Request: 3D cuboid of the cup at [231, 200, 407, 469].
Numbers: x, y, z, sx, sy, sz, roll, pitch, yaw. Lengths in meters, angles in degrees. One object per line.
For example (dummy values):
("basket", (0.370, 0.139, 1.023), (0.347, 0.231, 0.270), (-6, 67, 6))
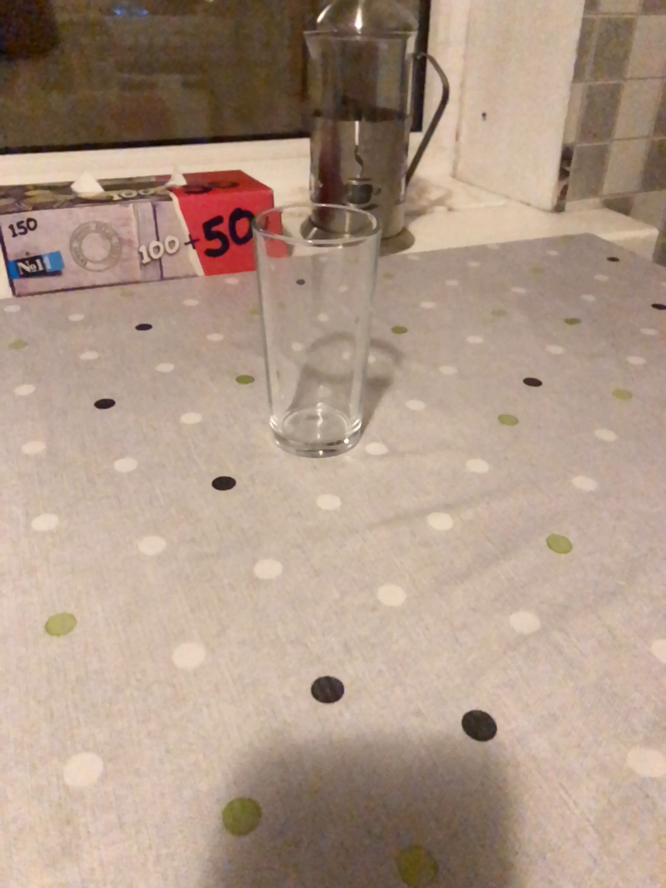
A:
("cup", (-0.010, -0.060, 0.396), (0.068, 0.117, 0.069), (1, 32, 0))
